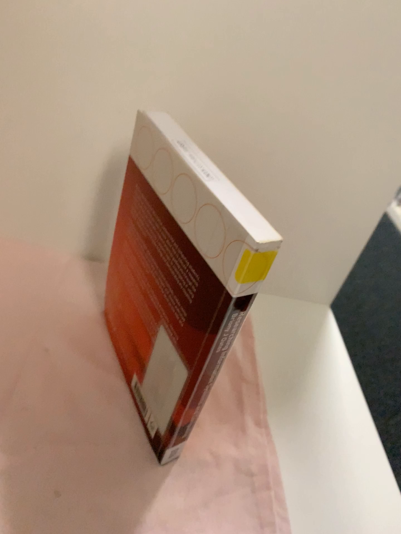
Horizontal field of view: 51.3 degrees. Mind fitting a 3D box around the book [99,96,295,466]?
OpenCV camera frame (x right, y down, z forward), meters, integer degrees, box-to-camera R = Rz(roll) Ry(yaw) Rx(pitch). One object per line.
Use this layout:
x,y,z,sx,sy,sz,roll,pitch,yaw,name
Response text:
-0.033,0.011,0.358,0.026,0.238,0.202,-4,41,-30,book
